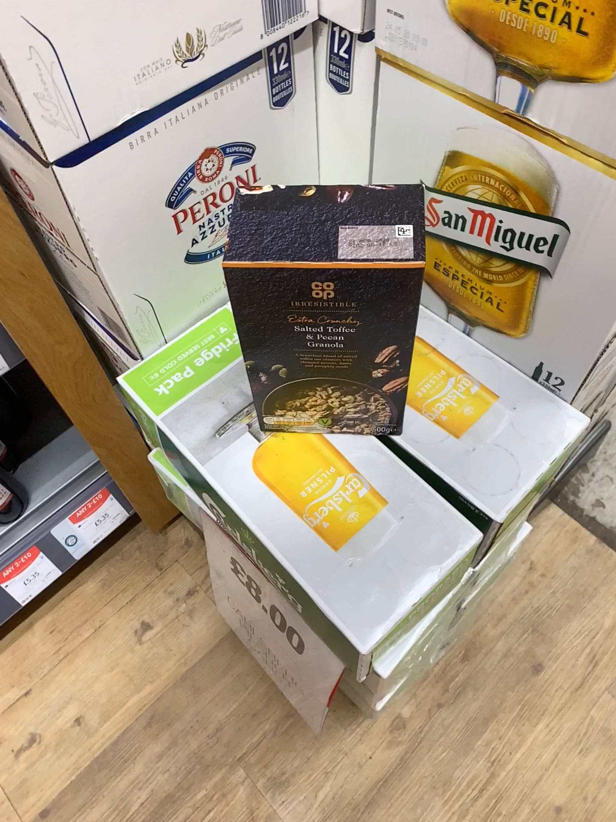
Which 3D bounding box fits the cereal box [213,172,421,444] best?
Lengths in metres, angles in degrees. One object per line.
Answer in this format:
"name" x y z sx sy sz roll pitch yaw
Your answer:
"cereal box" 0.013 -0.063 0.473 0.120 0.208 0.081 1 57 5
